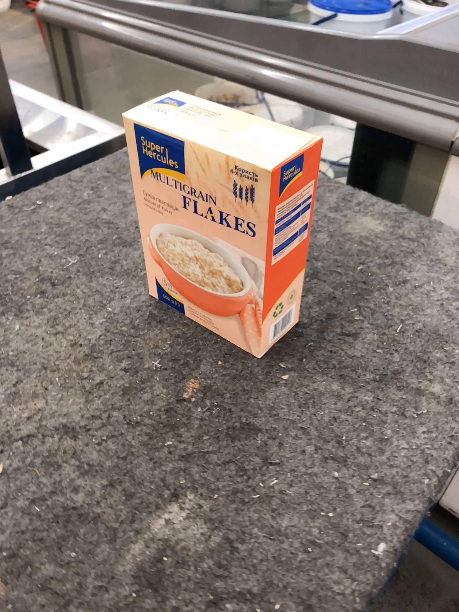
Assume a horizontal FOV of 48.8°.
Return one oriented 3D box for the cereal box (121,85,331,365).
[{"bbox_3d":[-0.004,-0.069,0.454,0.150,0.199,0.070,29,51,28],"label":"cereal box"}]
